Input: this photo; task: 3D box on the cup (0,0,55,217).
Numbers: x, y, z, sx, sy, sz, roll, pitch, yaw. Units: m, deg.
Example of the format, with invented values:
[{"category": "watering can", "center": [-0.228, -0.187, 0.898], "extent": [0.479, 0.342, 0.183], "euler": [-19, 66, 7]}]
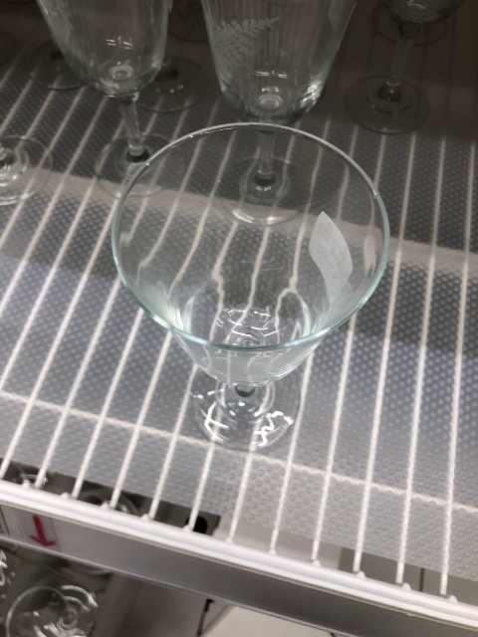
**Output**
[{"category": "cup", "center": [-0.159, -0.133, 0.293], "extent": [0.069, 0.146, 0.066], "euler": [0, 62, 0]}]

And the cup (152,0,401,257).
[{"category": "cup", "center": [0.019, -0.124, 0.300], "extent": [0.087, 0.155, 0.089], "euler": [0, 62, 0]}]

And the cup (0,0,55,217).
[{"category": "cup", "center": [-0.159, -0.133, 0.293], "extent": [0.069, 0.146, 0.066], "euler": [0, 62, 0]}]

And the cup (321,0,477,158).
[{"category": "cup", "center": [0.111, -0.183, 0.312], "extent": [0.089, 0.136, 0.086], "euler": [0, 62, 0]}]

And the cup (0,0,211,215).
[{"category": "cup", "center": [-0.063, -0.141, 0.297], "extent": [0.079, 0.146, 0.086], "euler": [0, 62, 0]}]

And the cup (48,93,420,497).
[{"category": "cup", "center": [0.003, 0.006, 0.230], "extent": [0.089, 0.156, 0.086], "euler": [0, 62, 0]}]

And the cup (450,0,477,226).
[{"category": "cup", "center": [0.177, -0.129, 0.264], "extent": [0.069, 0.126, 0.086], "euler": [35, 68, 17]}]
